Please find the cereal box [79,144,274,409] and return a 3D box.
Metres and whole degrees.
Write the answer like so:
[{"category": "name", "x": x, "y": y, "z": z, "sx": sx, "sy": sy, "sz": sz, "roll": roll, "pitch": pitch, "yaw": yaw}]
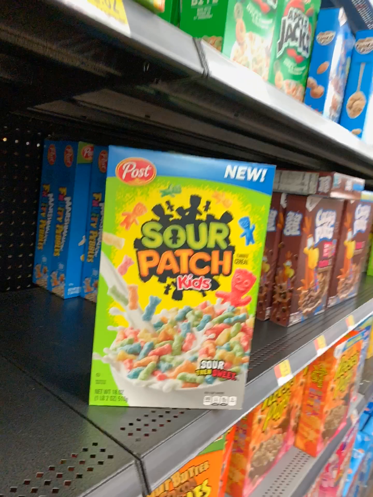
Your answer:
[{"category": "cereal box", "x": -0.019, "y": 0.040, "z": 0.496, "sx": 0.200, "sy": 0.309, "sz": 0.080, "roll": 5, "pitch": 9, "yaw": -9}]
